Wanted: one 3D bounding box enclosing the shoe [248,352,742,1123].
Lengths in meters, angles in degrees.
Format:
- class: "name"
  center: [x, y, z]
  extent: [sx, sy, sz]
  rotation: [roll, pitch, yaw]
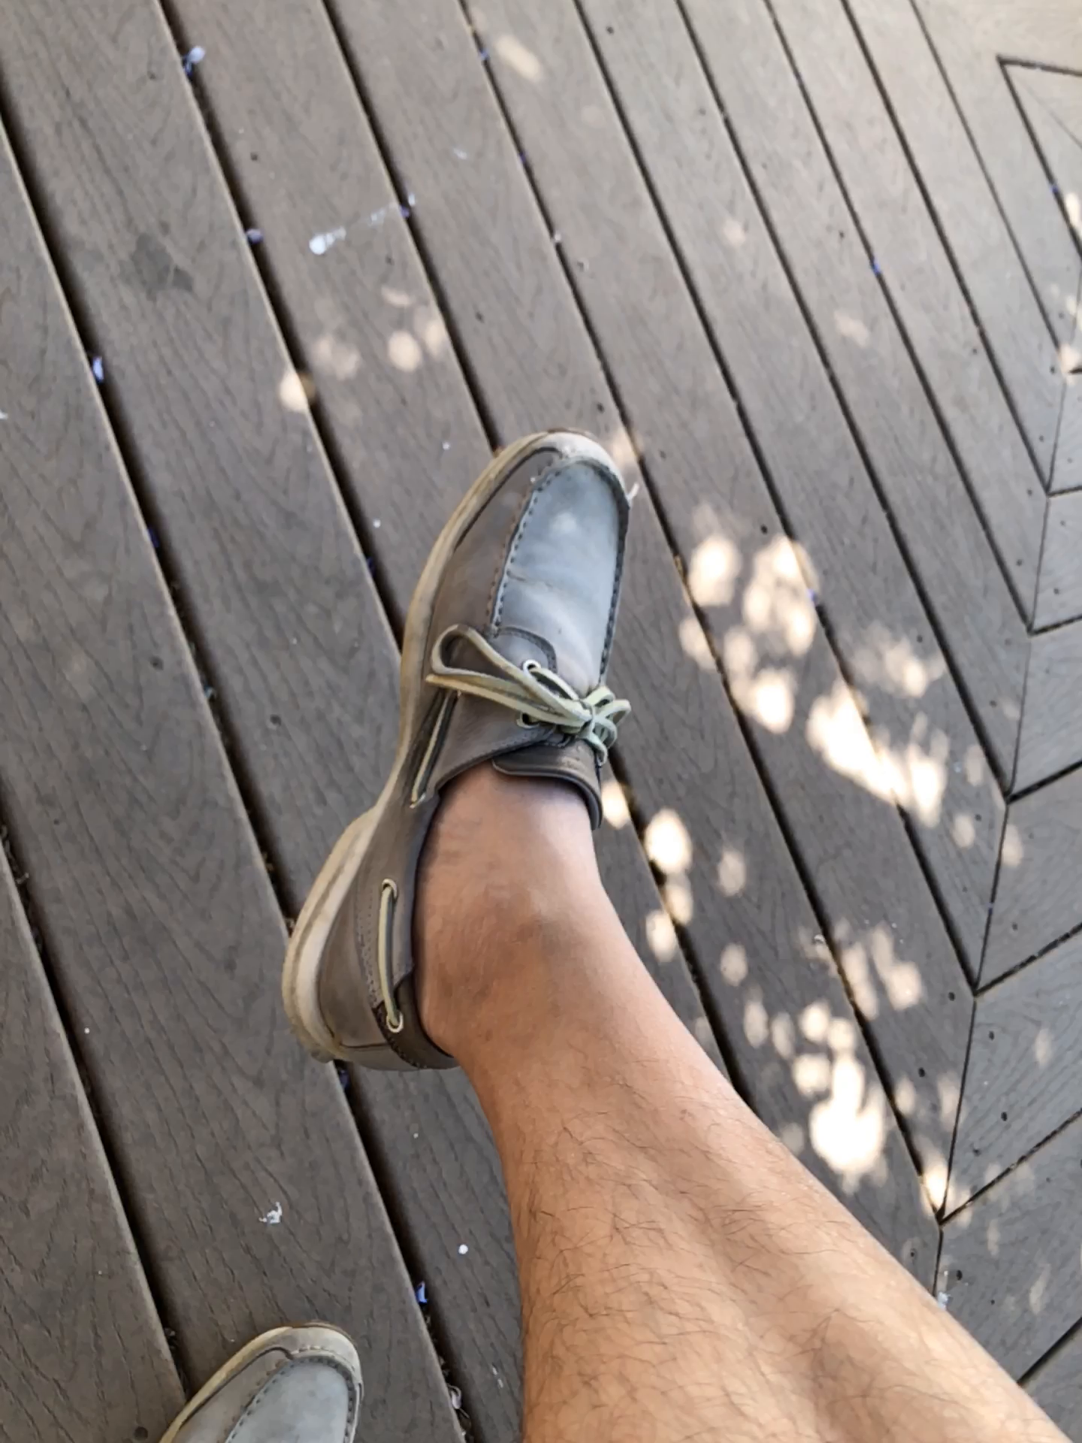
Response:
- class: "shoe"
  center: [-0.016, 0.006, 0.547]
  extent: [0.115, 0.085, 0.306]
  rotation: [23, 75, -24]
